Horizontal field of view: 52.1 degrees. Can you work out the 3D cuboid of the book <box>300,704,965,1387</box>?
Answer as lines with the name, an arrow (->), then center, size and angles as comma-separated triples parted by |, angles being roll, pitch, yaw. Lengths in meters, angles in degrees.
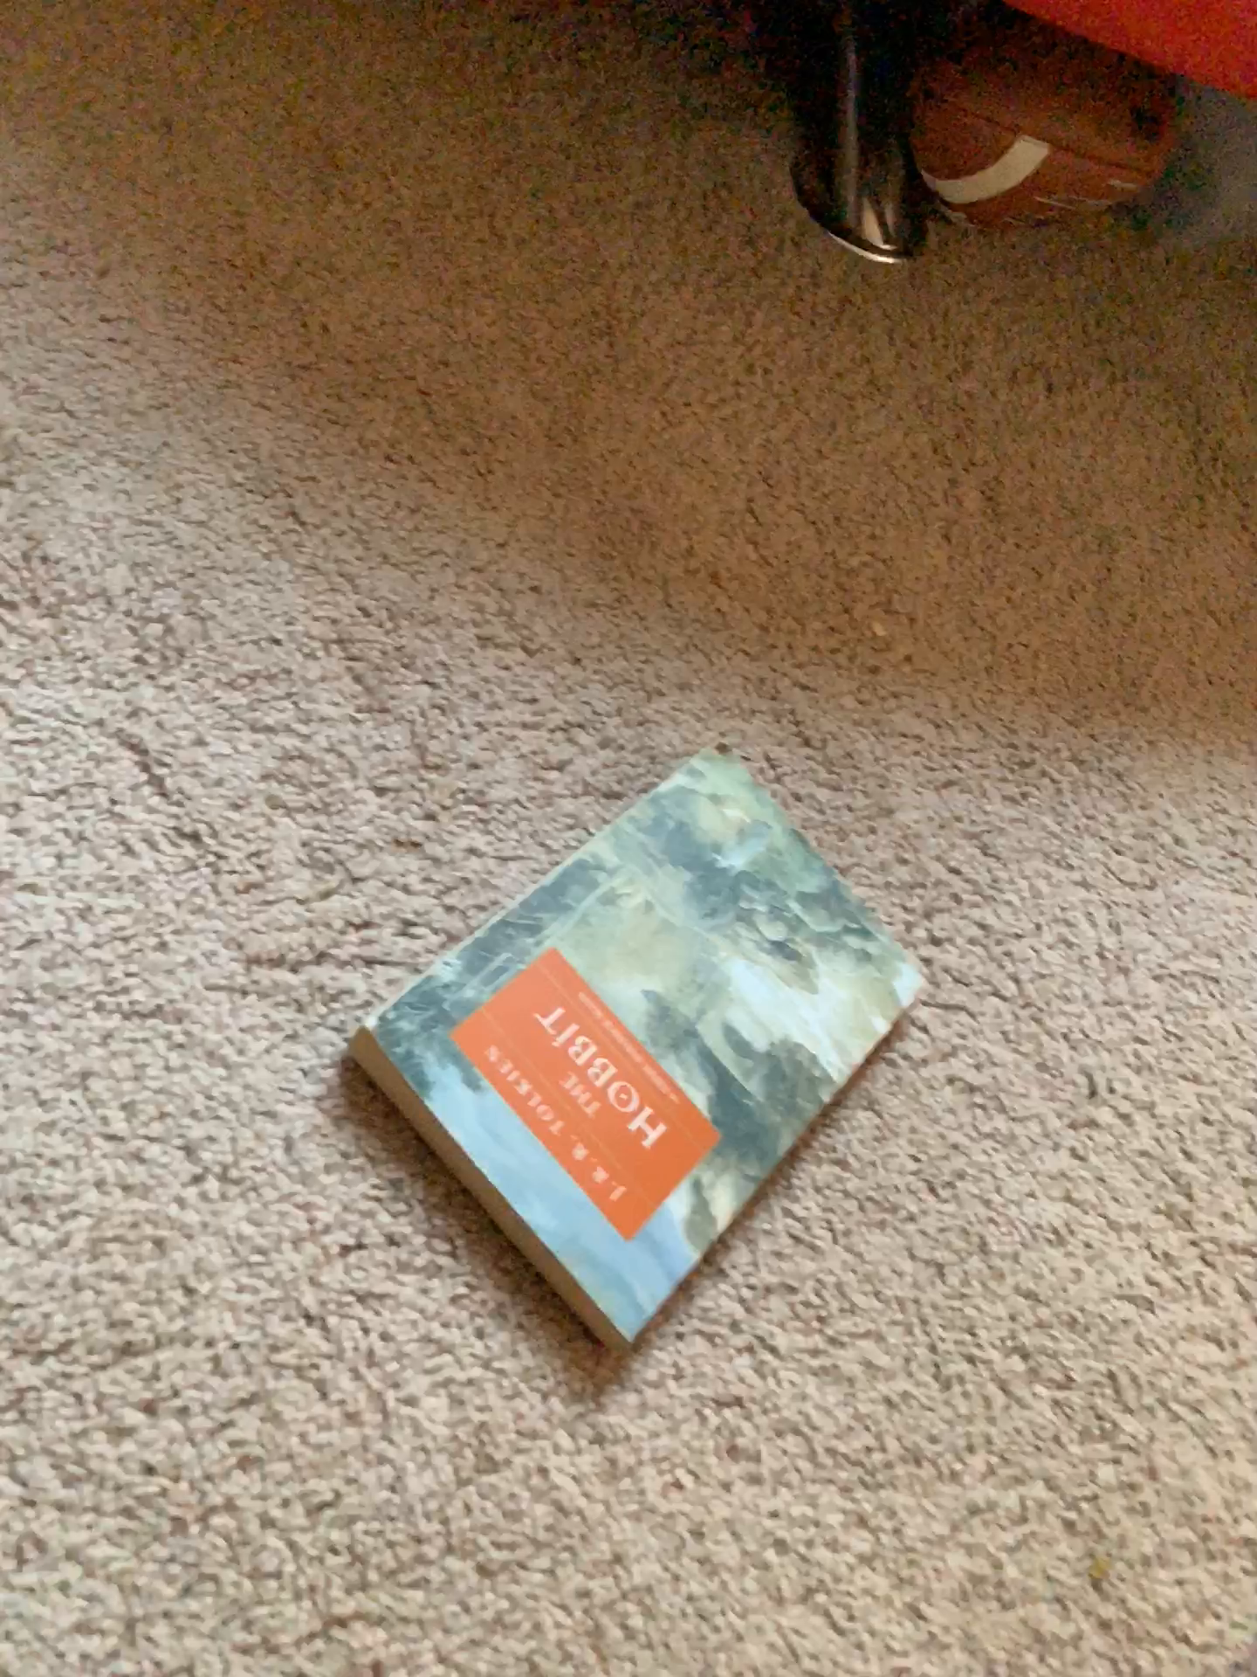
book -> 0.012, 0.066, 0.490 | 0.150, 0.030, 0.221 | 47, 58, 3
